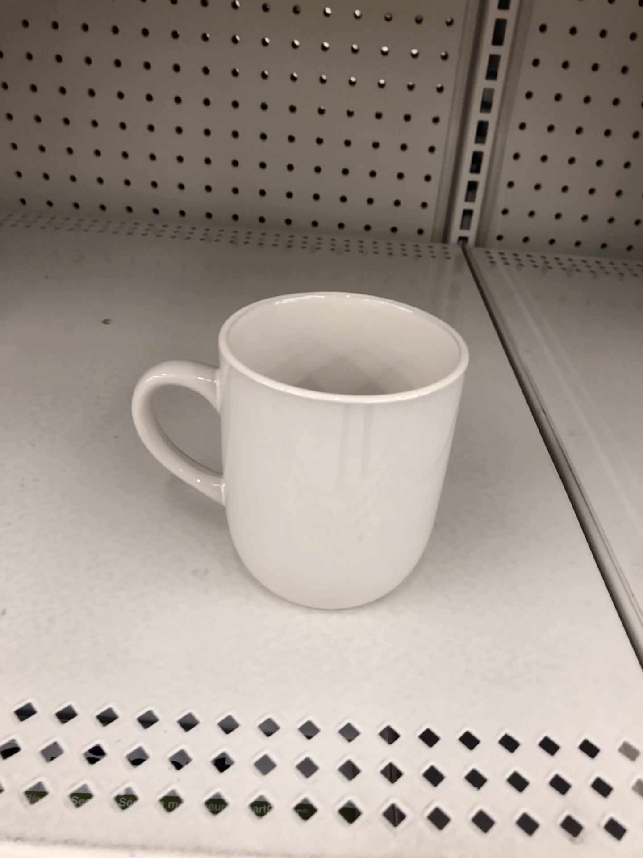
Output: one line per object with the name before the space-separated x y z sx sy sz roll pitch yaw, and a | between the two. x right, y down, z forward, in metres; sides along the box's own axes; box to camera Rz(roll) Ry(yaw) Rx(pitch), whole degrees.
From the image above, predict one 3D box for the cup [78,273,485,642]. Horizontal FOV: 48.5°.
cup | -0.010 0.005 0.268 0.121 0.090 0.087 8 31 6
